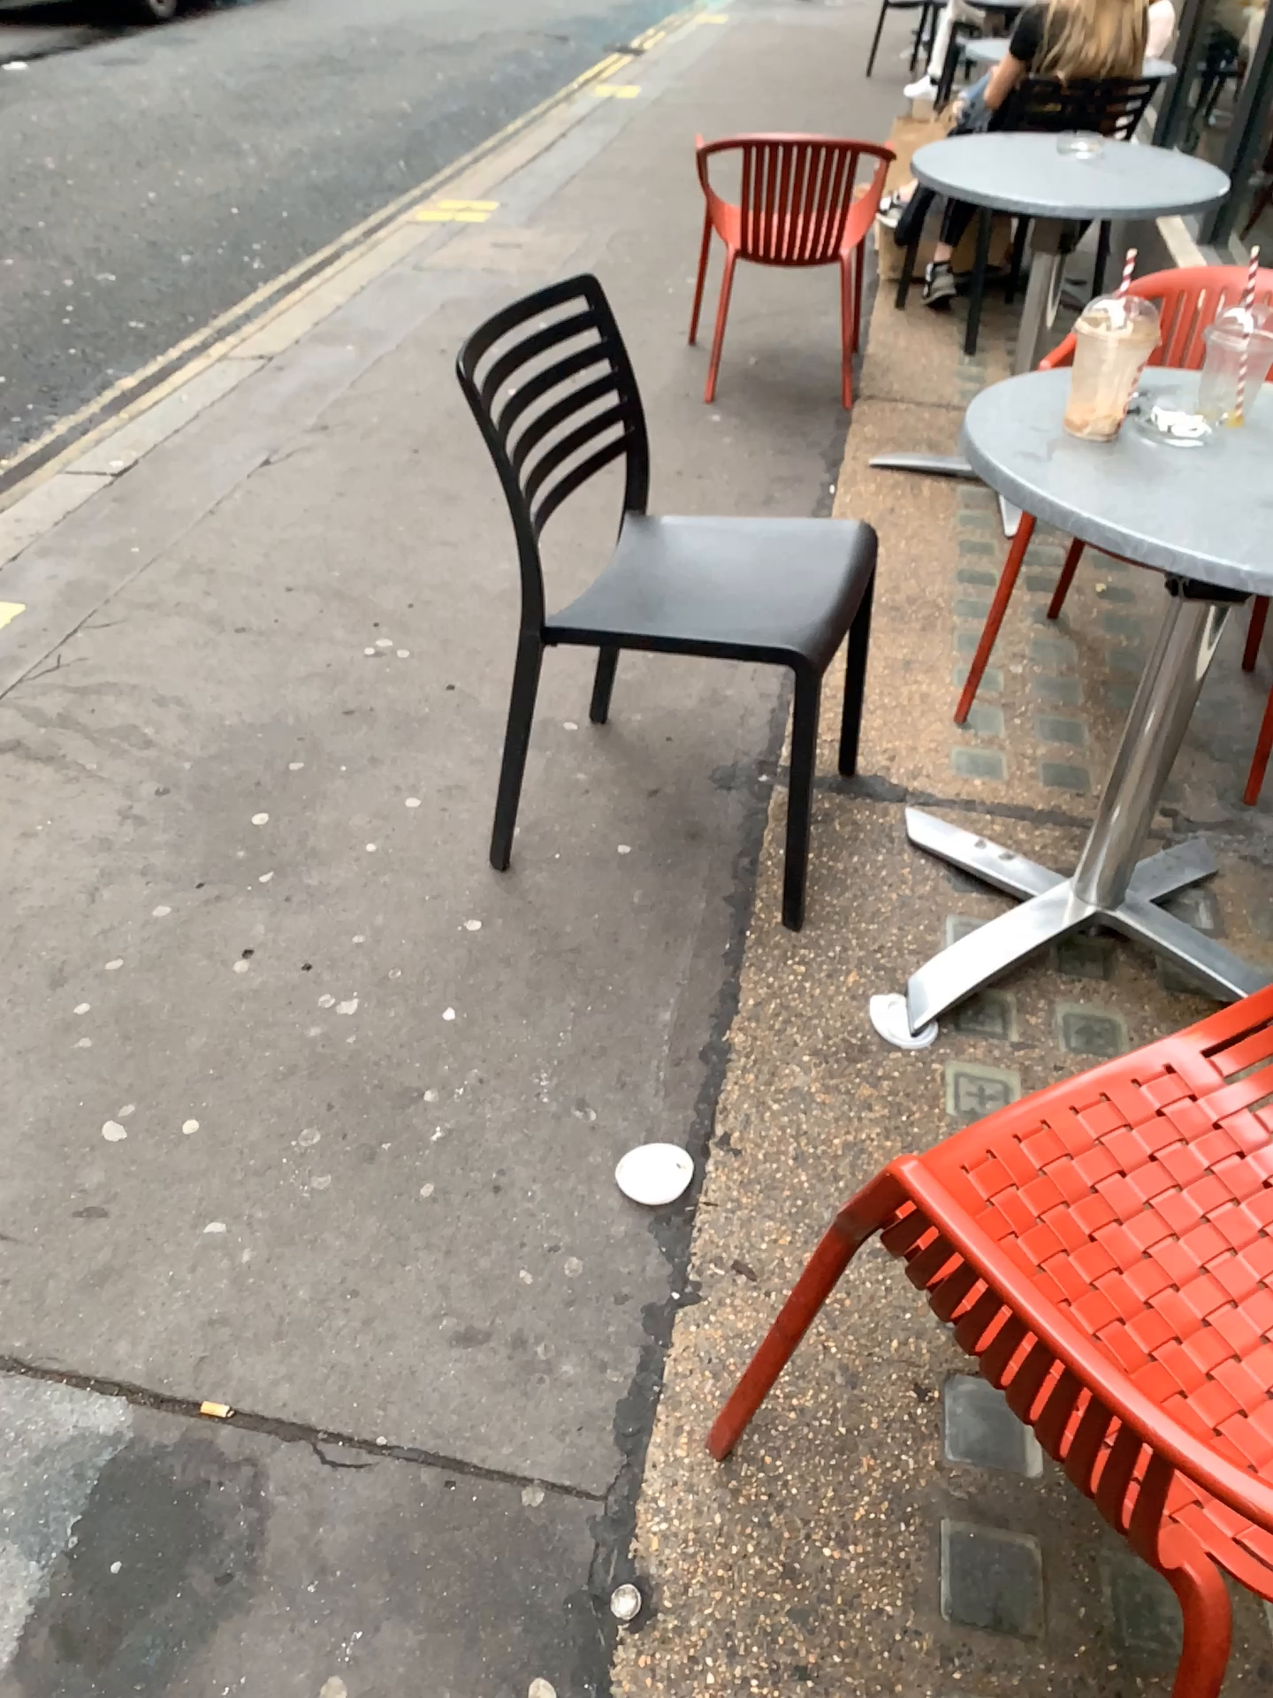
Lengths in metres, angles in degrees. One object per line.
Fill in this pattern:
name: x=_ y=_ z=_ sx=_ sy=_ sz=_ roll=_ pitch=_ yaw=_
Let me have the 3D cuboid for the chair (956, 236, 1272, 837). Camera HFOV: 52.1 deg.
chair: x=1.005 y=-0.575 z=2.308 sx=0.571 sy=0.743 sz=0.645 roll=19 pitch=41 yaw=18

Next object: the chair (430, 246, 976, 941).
chair: x=0.097 y=-0.390 z=1.938 sx=0.601 sy=0.753 sz=0.555 roll=13 pitch=39 yaw=11

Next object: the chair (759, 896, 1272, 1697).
chair: x=0.581 y=0.621 z=0.870 sx=0.641 sy=0.772 sz=0.705 roll=-15 pitch=42 yaw=-23
